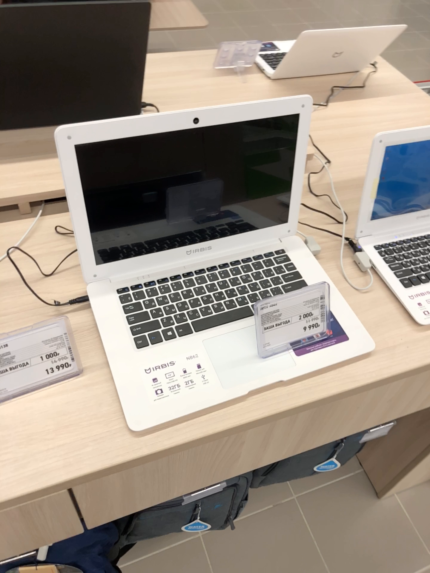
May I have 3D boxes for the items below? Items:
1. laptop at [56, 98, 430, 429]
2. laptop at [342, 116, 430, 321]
[{"bbox_3d":[0.015,-0.049,0.590,0.334,0.207,0.279,-14,53,-19],"label":"laptop"},{"bbox_3d":[0.389,-0.111,0.719,0.260,0.167,0.221,-13,52,-16],"label":"laptop"}]
